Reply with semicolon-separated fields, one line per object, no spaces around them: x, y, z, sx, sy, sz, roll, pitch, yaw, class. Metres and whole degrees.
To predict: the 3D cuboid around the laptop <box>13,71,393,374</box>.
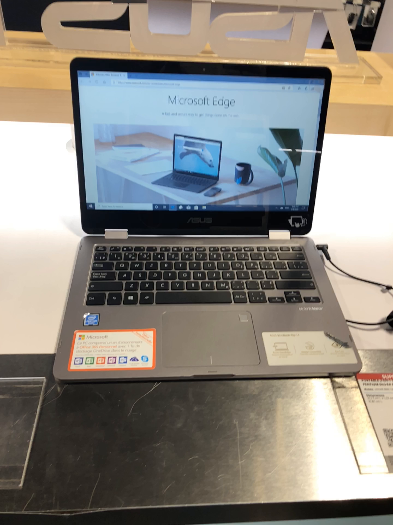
0.018;-0.056;0.467;0.304;0.212;0.279;0;39;-3;laptop
